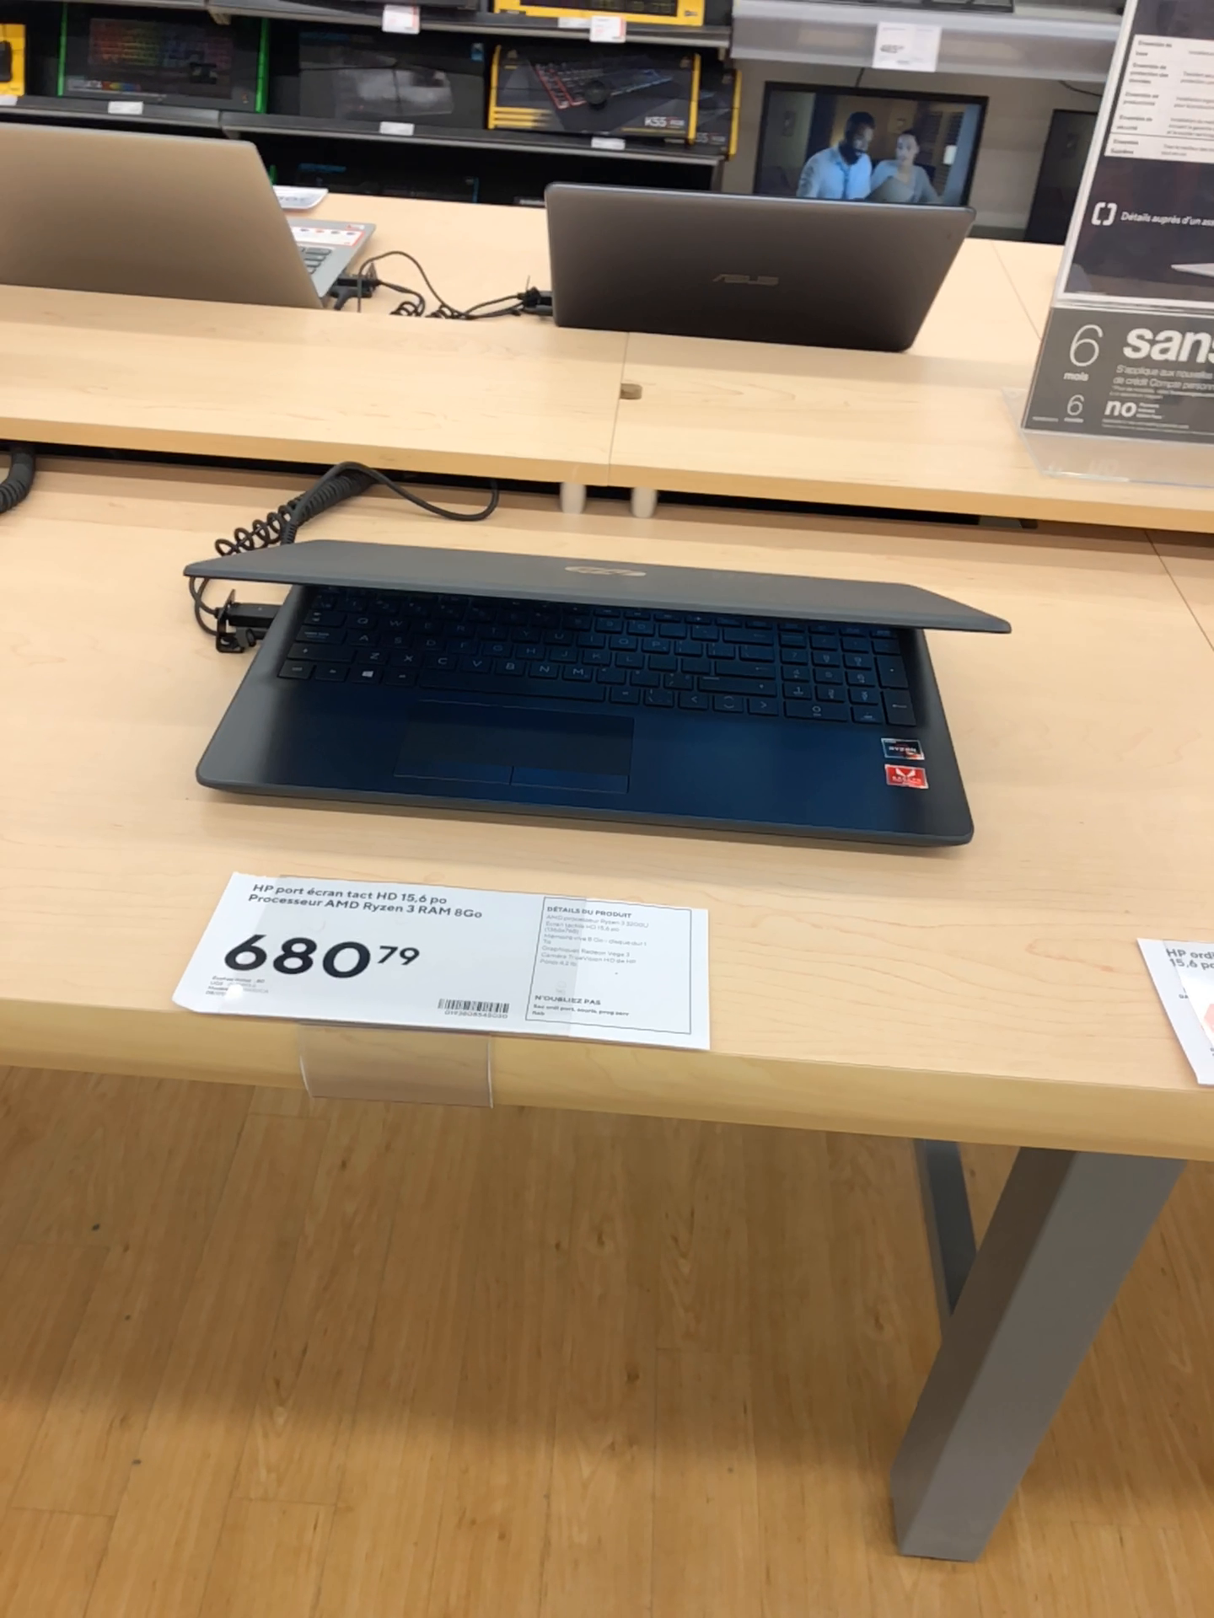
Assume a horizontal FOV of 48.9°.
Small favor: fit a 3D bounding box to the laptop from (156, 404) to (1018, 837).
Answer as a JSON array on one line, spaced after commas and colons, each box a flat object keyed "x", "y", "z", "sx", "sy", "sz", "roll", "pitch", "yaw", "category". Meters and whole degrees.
[{"x": -0.001, "y": -0.108, "z": 0.690, "sx": 0.366, "sy": 0.090, "sz": 0.243, "roll": 4, "pitch": 37, "yaw": -1, "category": "laptop"}]
